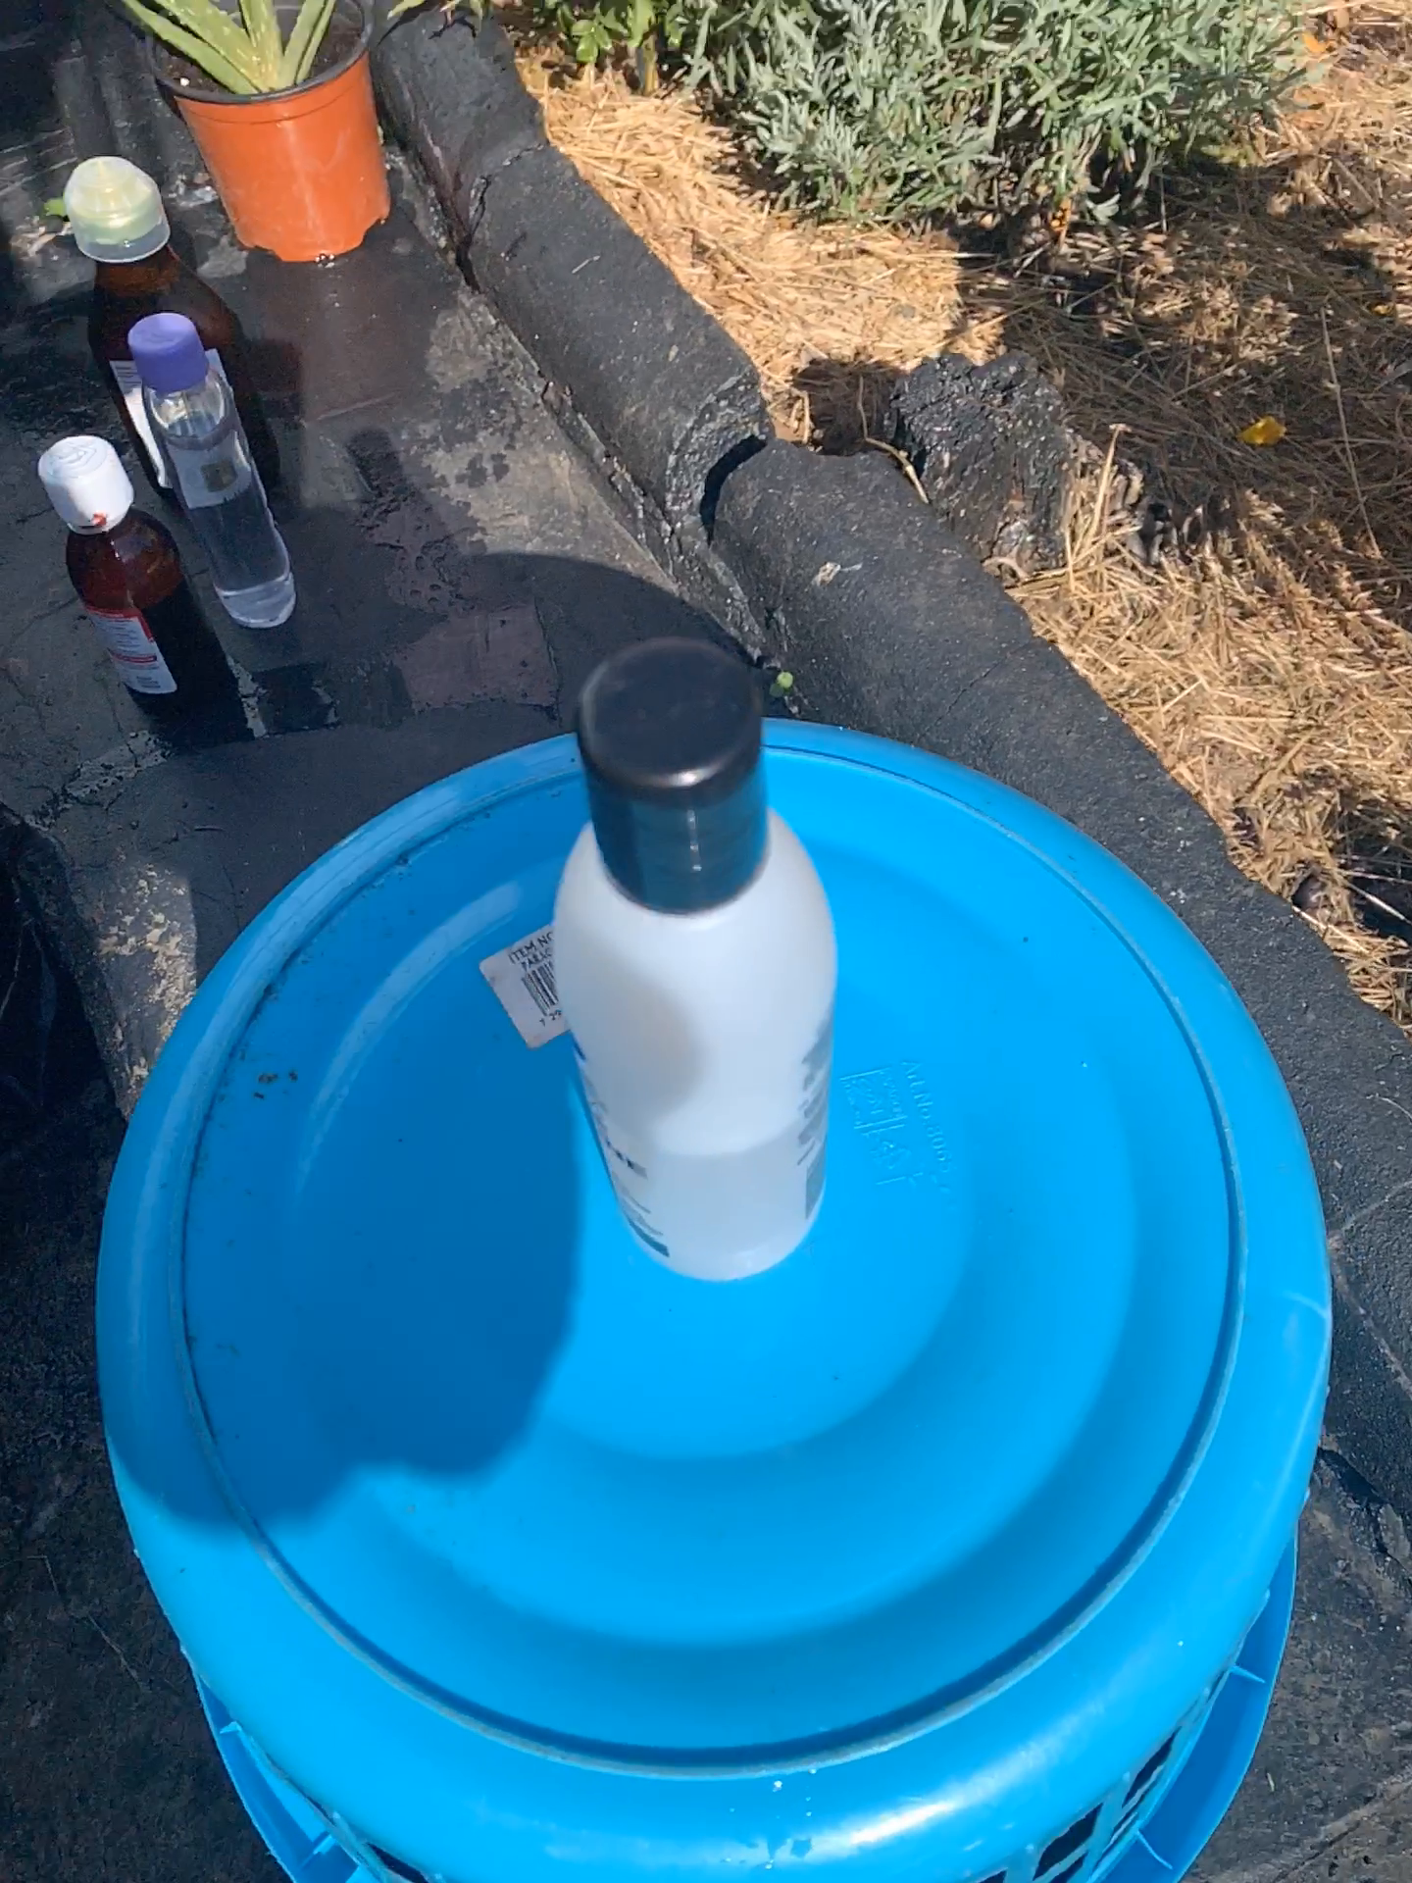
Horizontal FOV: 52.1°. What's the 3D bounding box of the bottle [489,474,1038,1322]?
[{"bbox_3d":[0.007,0.007,0.285,0.060,0.179,0.060,0,57,0],"label":"bottle"}]
